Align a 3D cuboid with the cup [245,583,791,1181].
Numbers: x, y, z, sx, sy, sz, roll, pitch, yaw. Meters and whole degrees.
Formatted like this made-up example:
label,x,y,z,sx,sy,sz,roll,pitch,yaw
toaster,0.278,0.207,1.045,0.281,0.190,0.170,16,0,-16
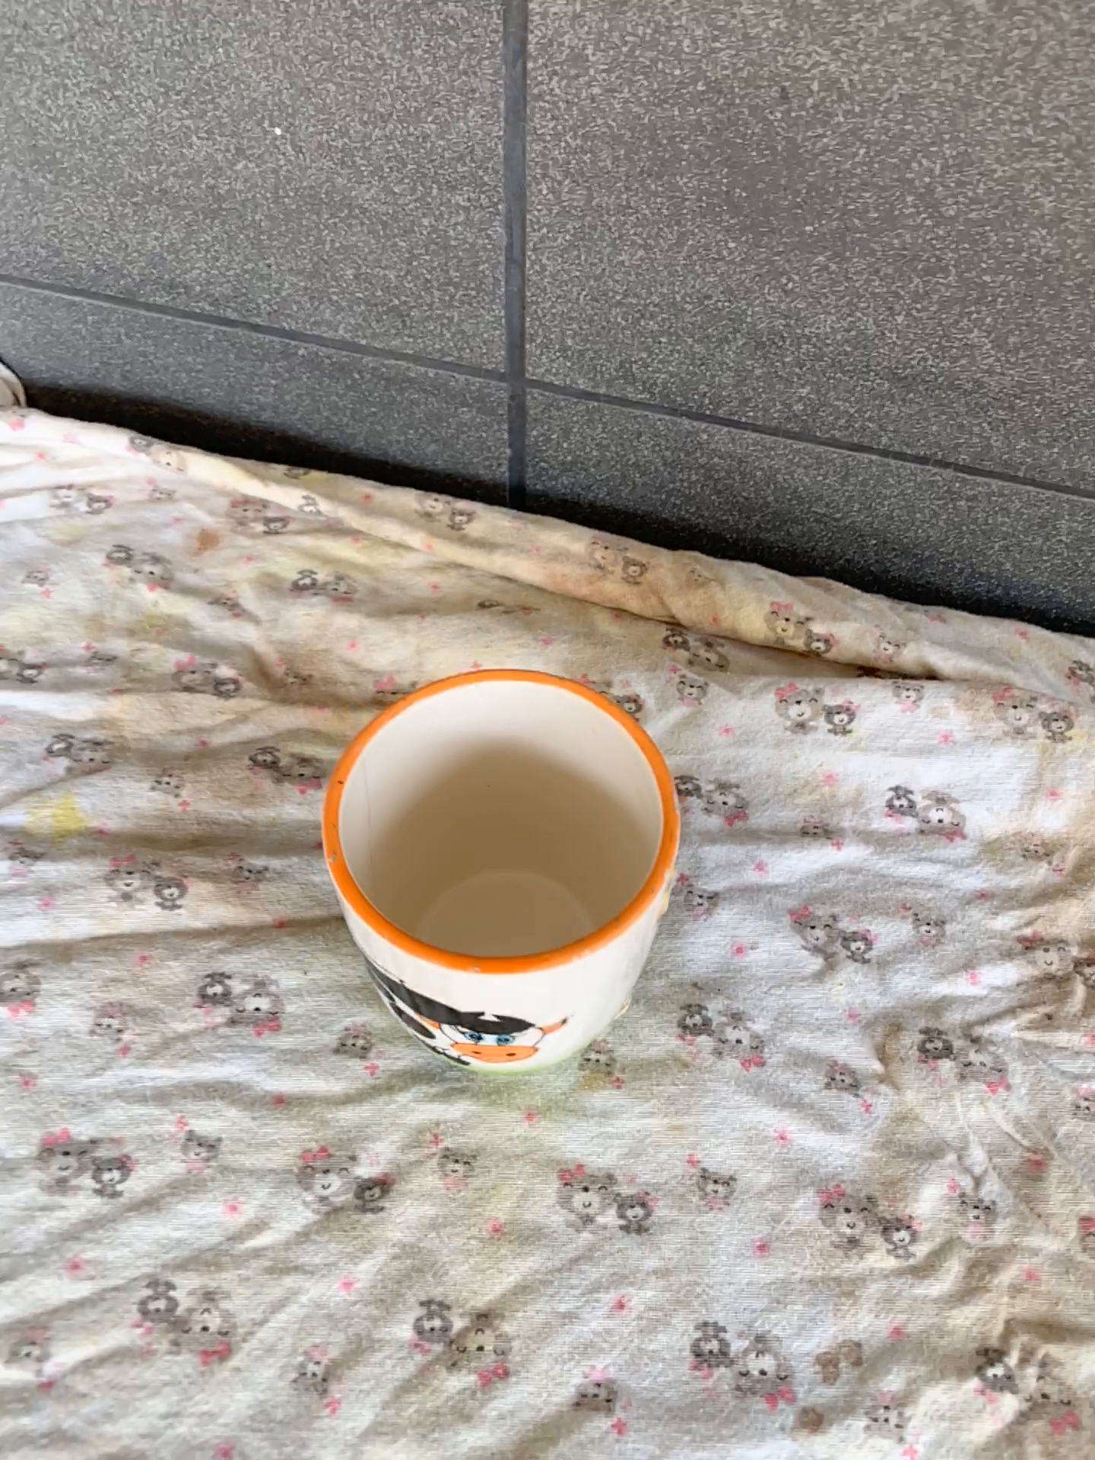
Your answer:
label,x,y,z,sx,sy,sz,roll,pitch,yaw
cup,-0.006,0.037,0.270,0.080,0.090,0.080,1,55,-1
